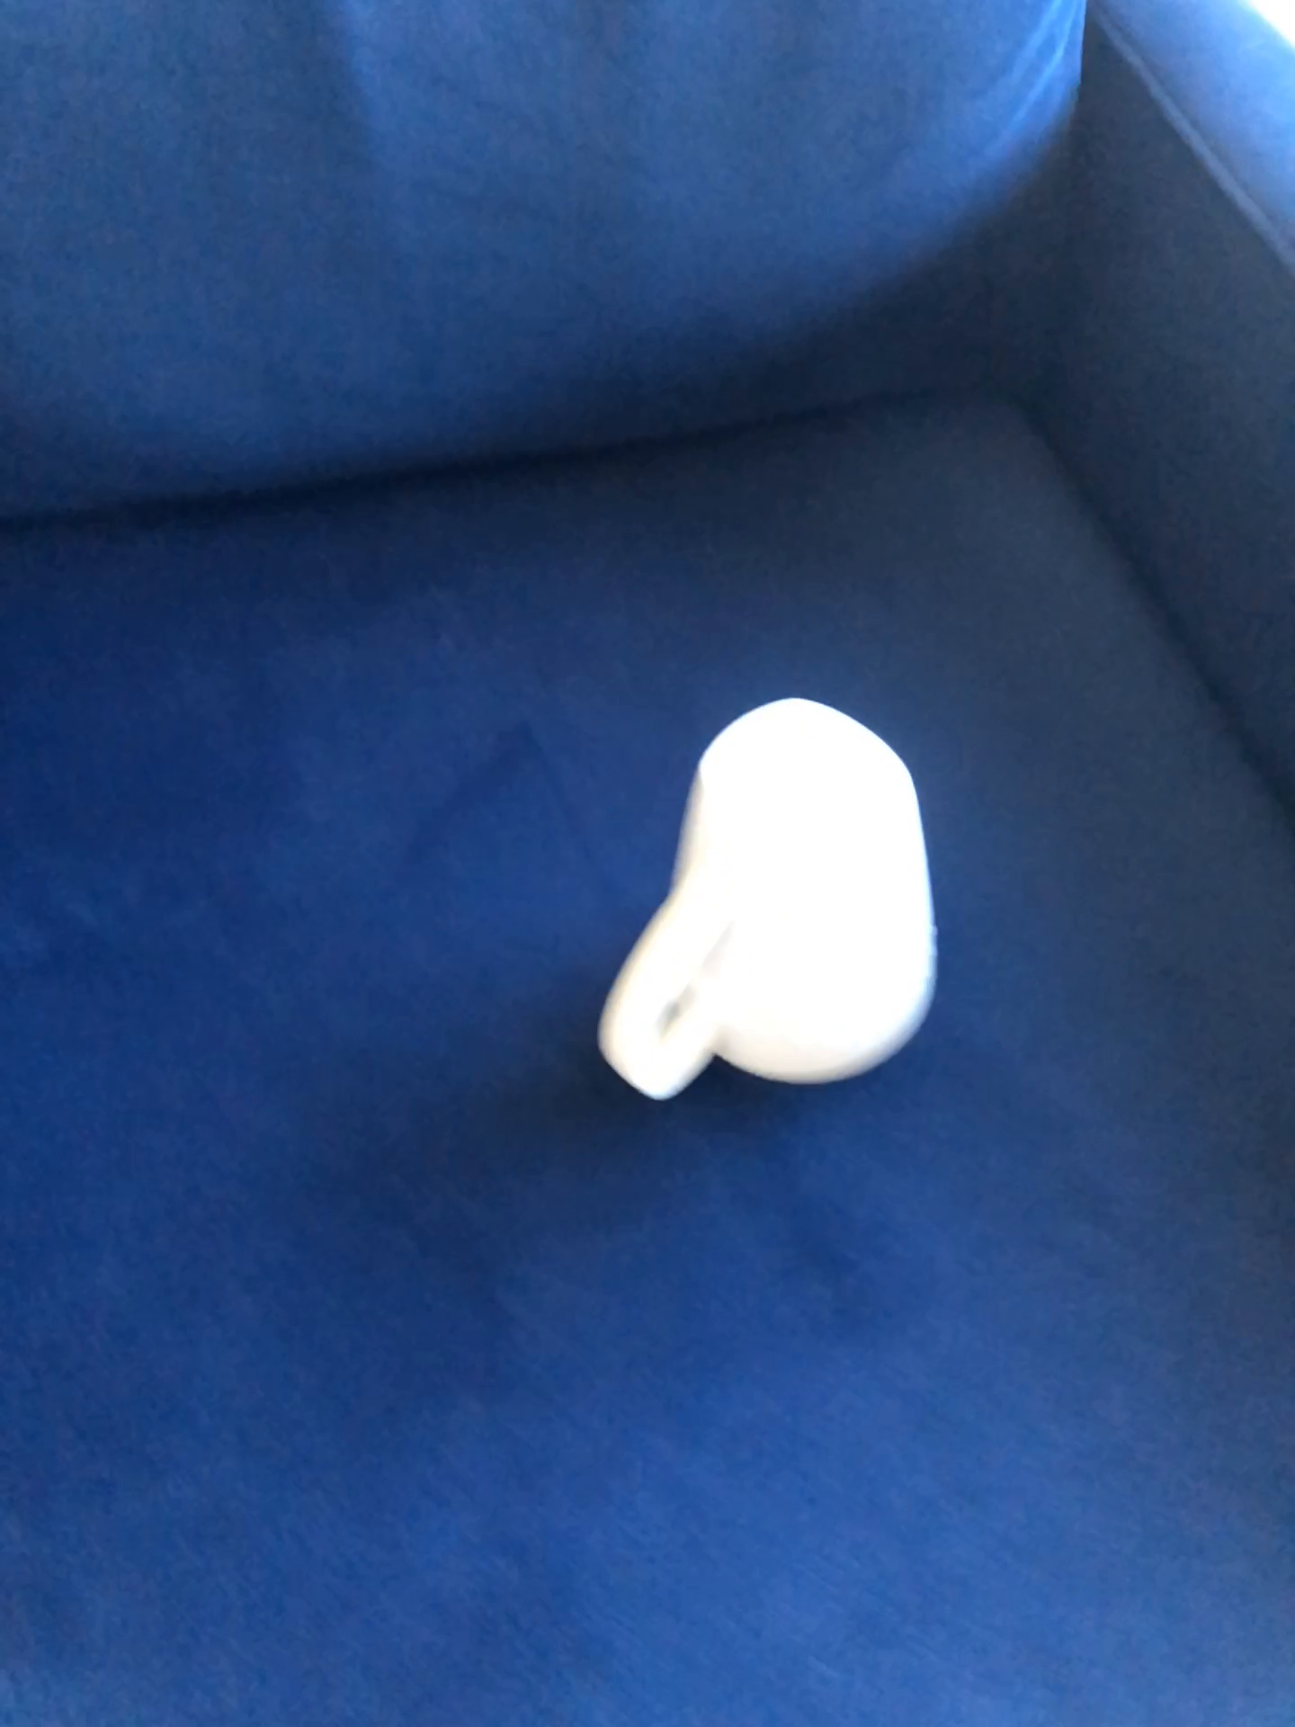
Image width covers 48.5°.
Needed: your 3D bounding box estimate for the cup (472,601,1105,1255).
[{"bbox_3d":[0.043,0.017,0.450,0.110,0.090,0.150,38,64,24],"label":"cup"}]
